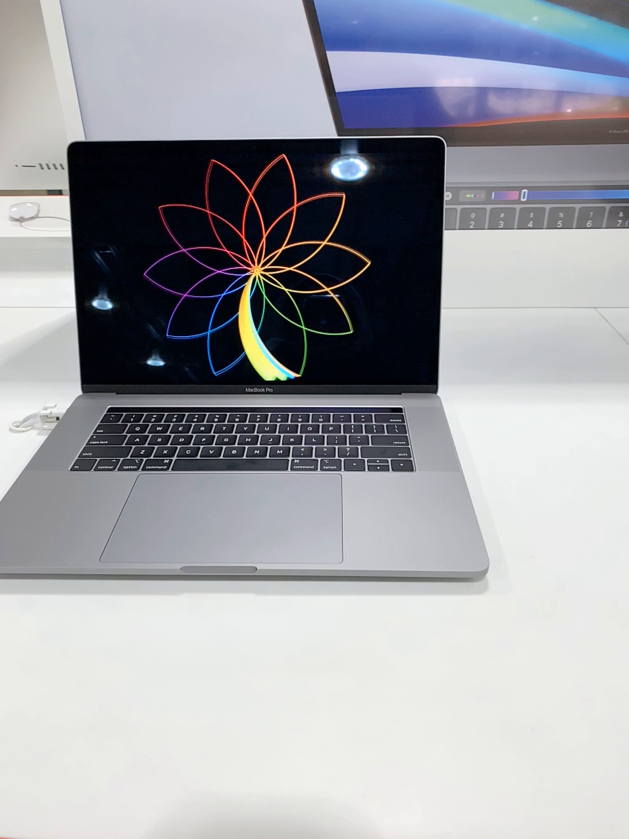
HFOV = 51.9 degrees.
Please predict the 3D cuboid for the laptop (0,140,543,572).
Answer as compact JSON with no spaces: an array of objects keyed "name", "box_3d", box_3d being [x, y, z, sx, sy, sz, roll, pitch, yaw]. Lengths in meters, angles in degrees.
[{"name":"laptop","box_3d":[-0.057,-0.075,0.476,0.330,0.205,0.304,0,30,1]}]
